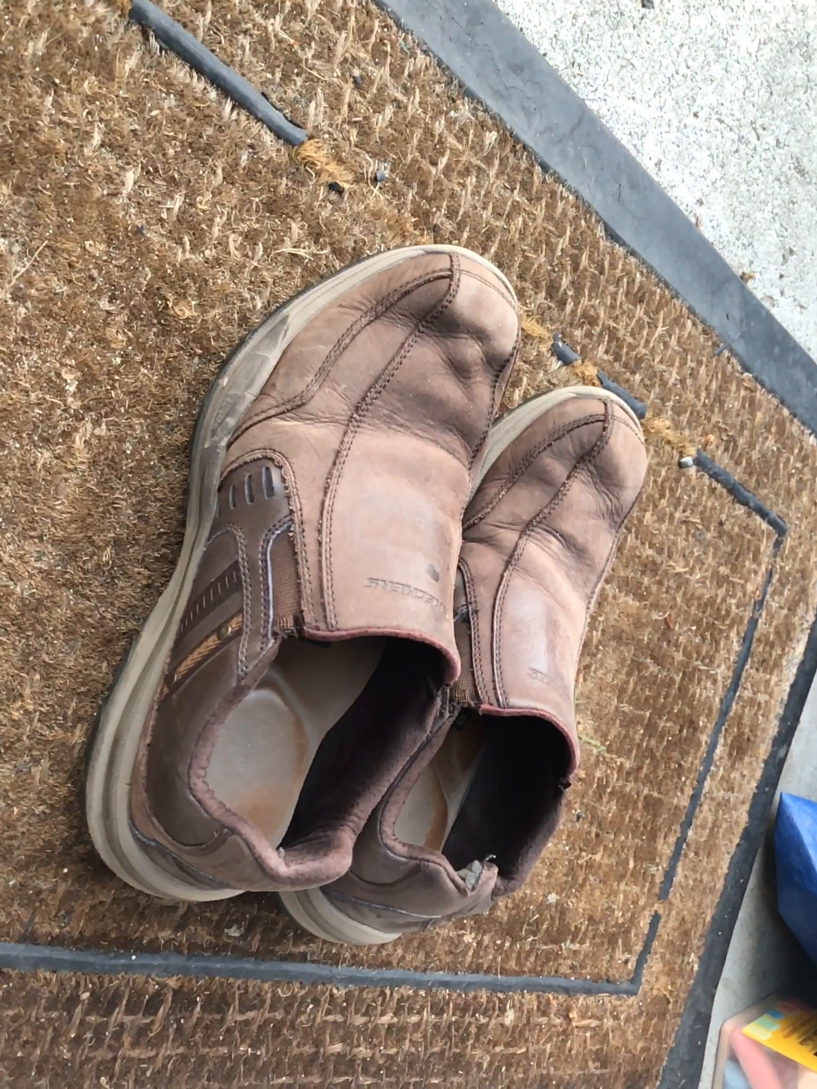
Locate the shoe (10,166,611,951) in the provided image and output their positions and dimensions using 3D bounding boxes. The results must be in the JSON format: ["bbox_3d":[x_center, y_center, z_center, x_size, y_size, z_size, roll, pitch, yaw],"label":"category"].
[{"bbox_3d":[-0.035,0.002,0.360,0.100,0.100,0.267,31,79,-39],"label":"shoe"}]

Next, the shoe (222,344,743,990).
[{"bbox_3d":[0.038,0.046,0.409,0.100,0.100,0.254,35,77,-38],"label":"shoe"}]
